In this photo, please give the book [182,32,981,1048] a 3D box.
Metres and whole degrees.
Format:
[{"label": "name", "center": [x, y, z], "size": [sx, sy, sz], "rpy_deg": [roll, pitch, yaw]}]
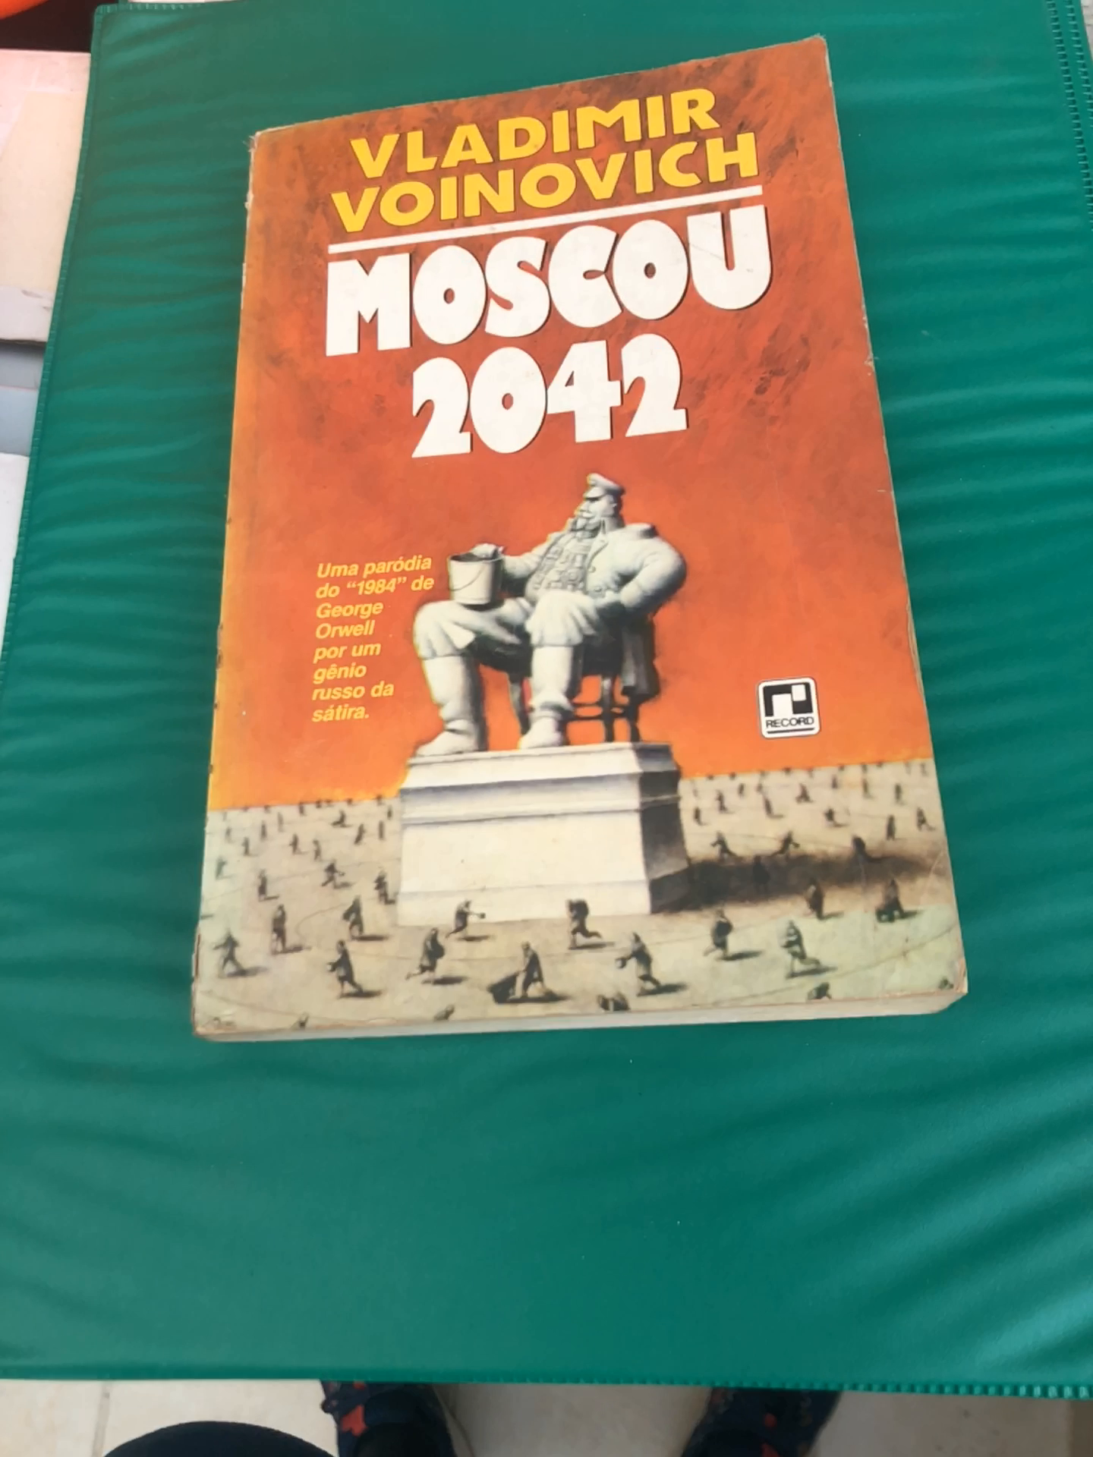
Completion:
[{"label": "book", "center": [0.001, -0.045, 0.243], "size": [0.132, 0.020, 0.204], "rpy_deg": [-4, 70, 7]}]
